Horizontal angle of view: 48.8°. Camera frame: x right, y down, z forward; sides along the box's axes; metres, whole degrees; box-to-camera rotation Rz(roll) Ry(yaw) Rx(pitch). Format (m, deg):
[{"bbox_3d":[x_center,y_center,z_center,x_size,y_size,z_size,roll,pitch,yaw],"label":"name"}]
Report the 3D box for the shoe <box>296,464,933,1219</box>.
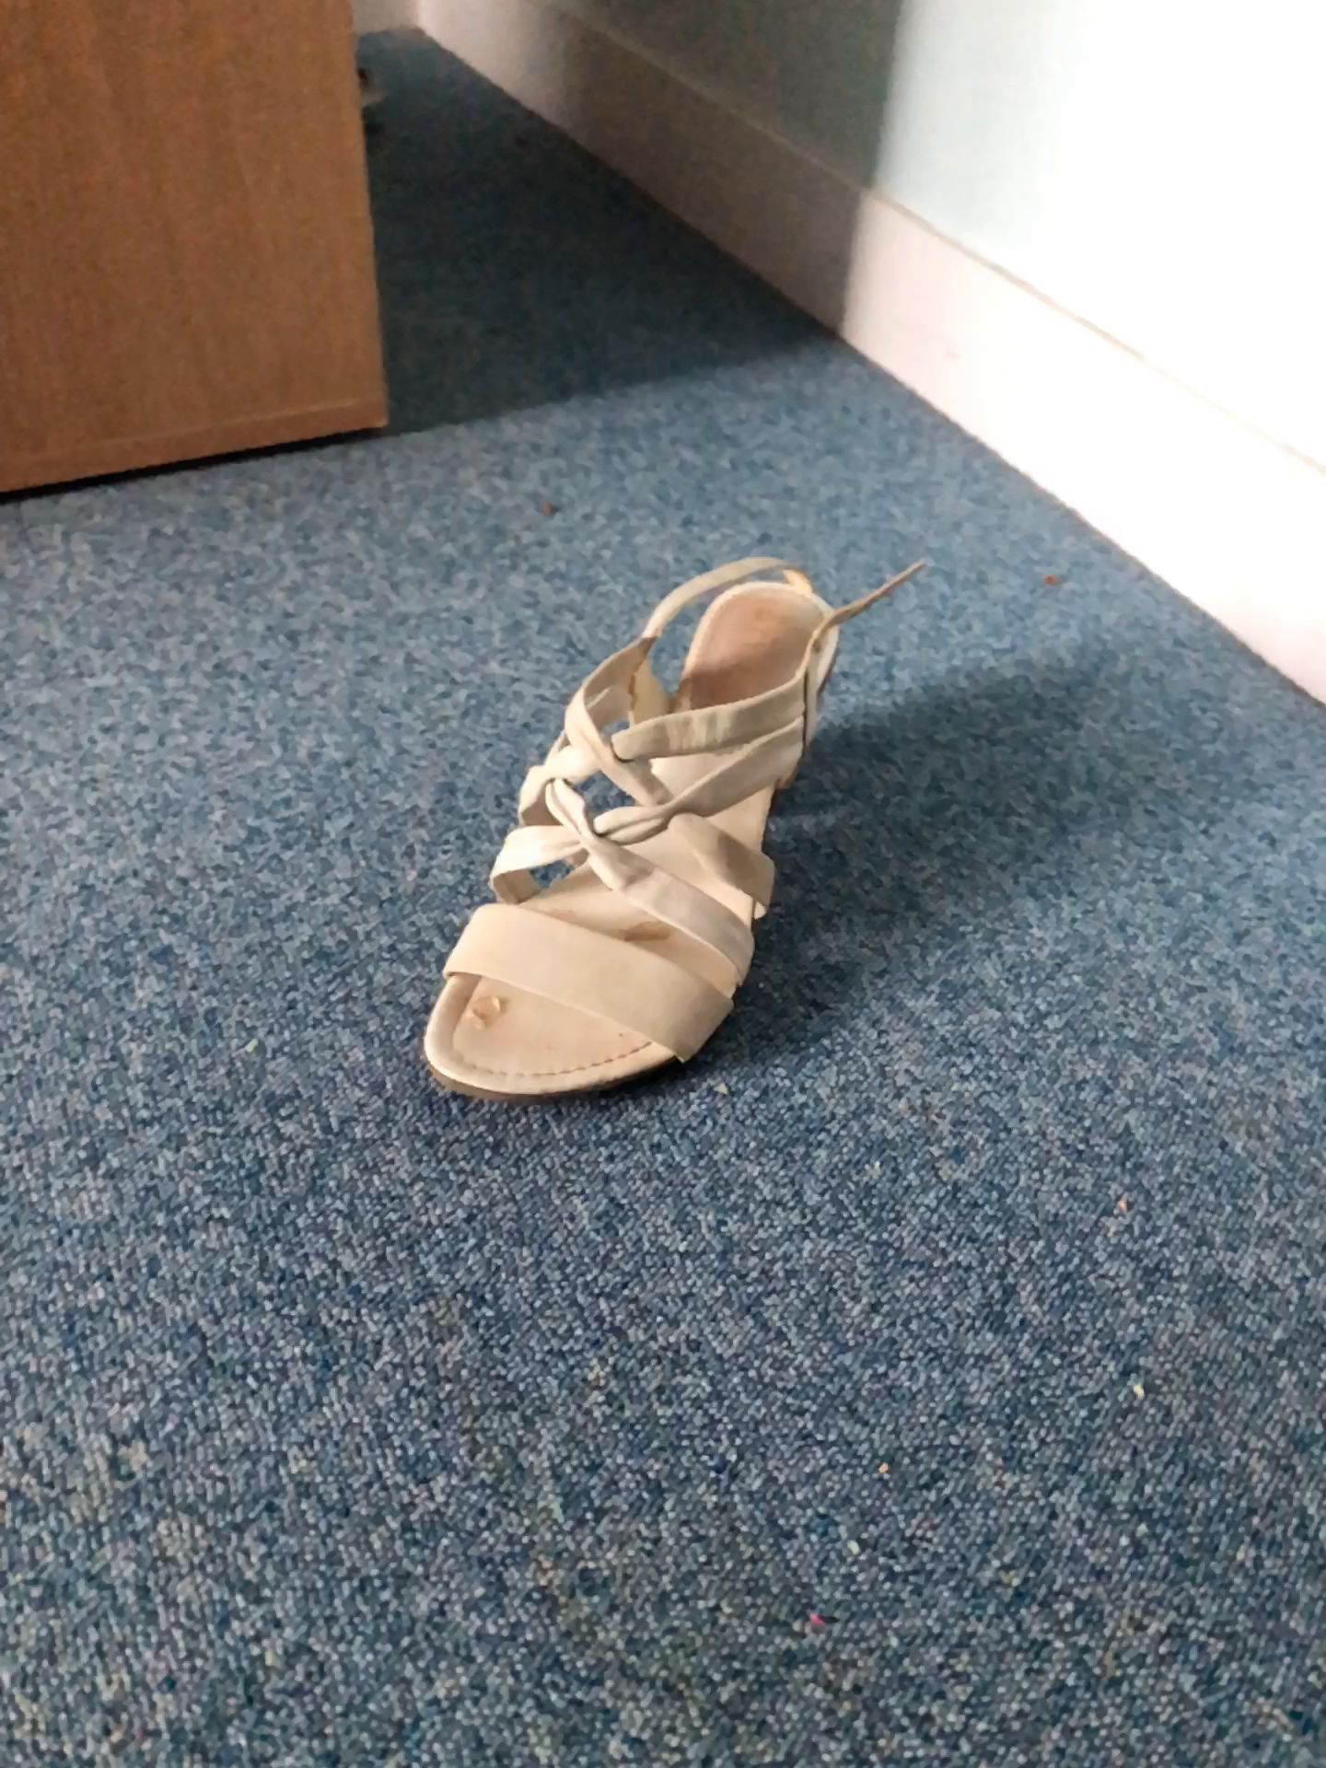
[{"bbox_3d":[-0.003,-0.030,0.492,0.100,0.109,0.242,20,45,16],"label":"shoe"}]
